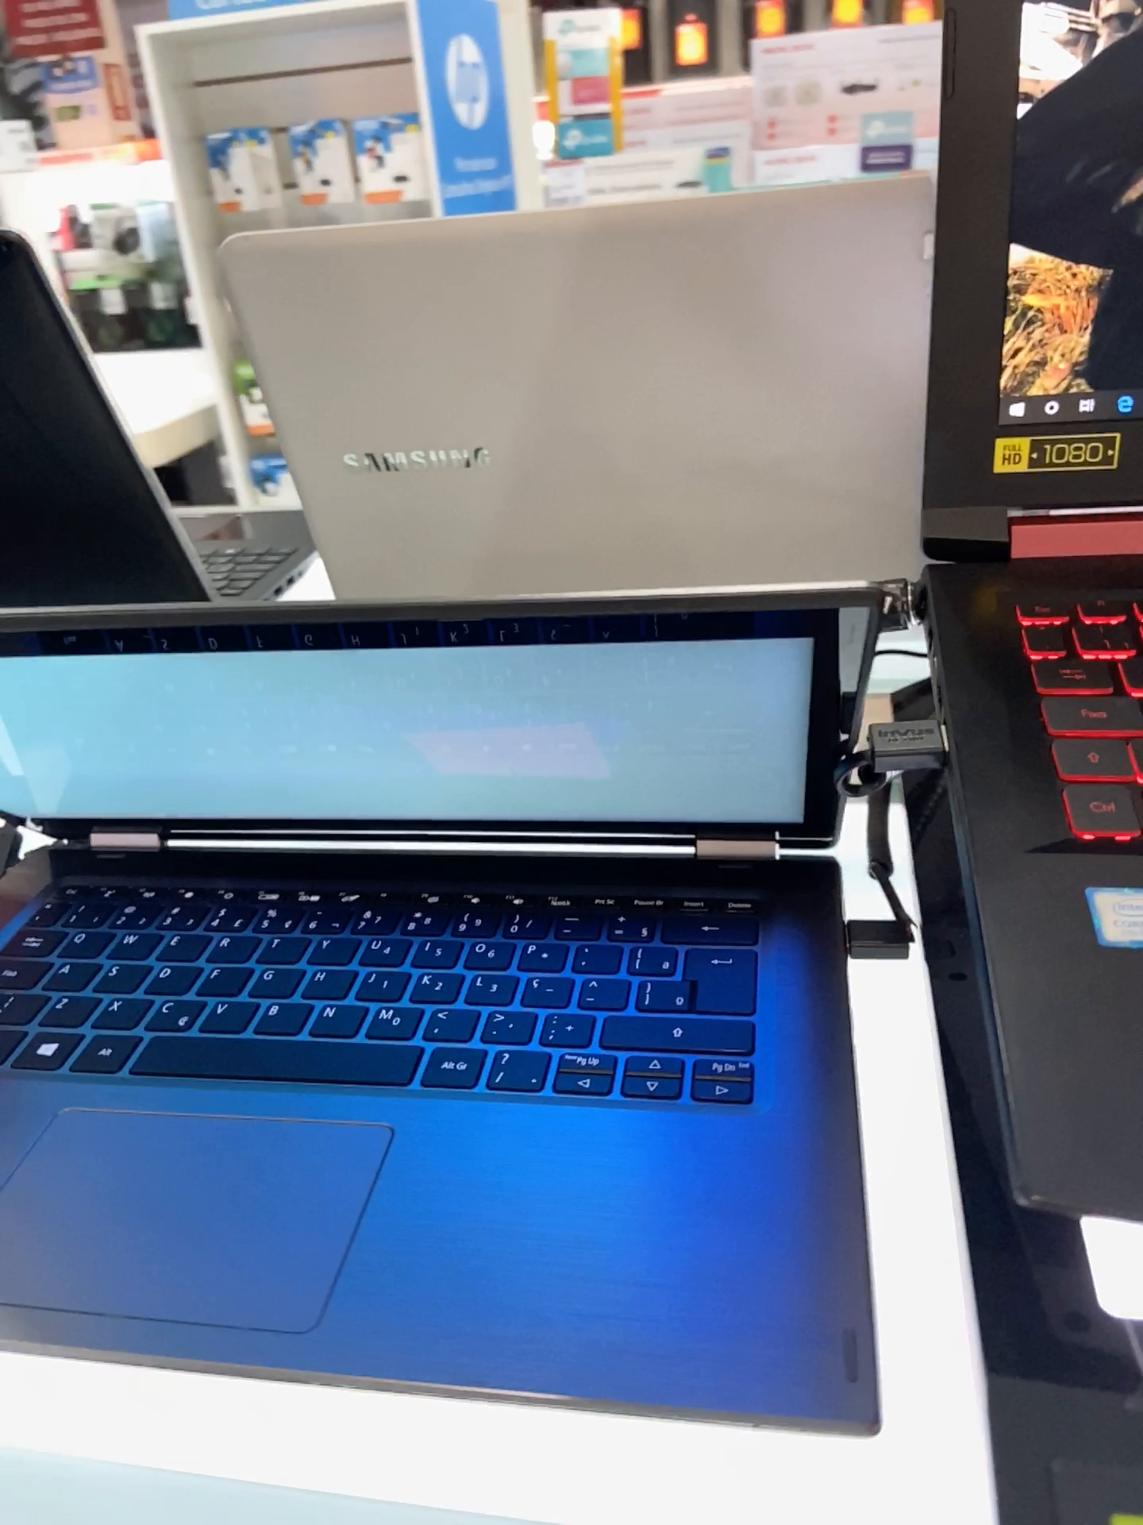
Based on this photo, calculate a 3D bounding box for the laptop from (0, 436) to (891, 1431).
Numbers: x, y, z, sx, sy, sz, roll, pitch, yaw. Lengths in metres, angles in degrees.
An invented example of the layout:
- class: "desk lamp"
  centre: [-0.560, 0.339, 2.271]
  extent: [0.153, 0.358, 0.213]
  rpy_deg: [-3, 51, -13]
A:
- class: "laptop"
  centre: [-0.088, 0.019, 0.338]
  extent: [0.328, 0.154, 0.220]
  rpy_deg: [0, 28, 10]
